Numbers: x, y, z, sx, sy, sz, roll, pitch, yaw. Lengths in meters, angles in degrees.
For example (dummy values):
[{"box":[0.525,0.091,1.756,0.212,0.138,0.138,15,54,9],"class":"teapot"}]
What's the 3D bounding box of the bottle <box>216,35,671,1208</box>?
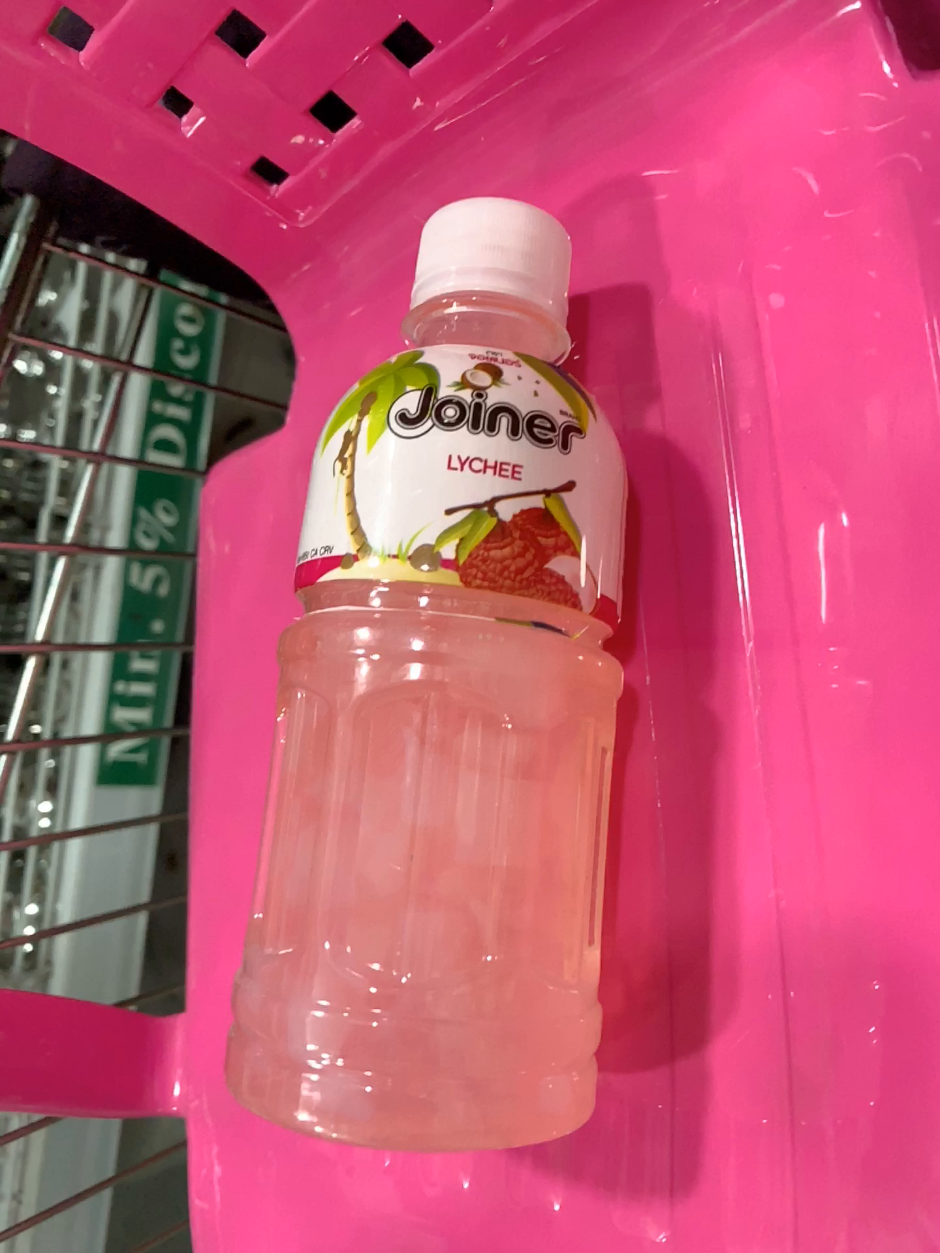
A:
[{"box":[-0.006,-0.002,0.176,0.060,0.060,0.170,152,122,-72],"class":"bottle"}]
